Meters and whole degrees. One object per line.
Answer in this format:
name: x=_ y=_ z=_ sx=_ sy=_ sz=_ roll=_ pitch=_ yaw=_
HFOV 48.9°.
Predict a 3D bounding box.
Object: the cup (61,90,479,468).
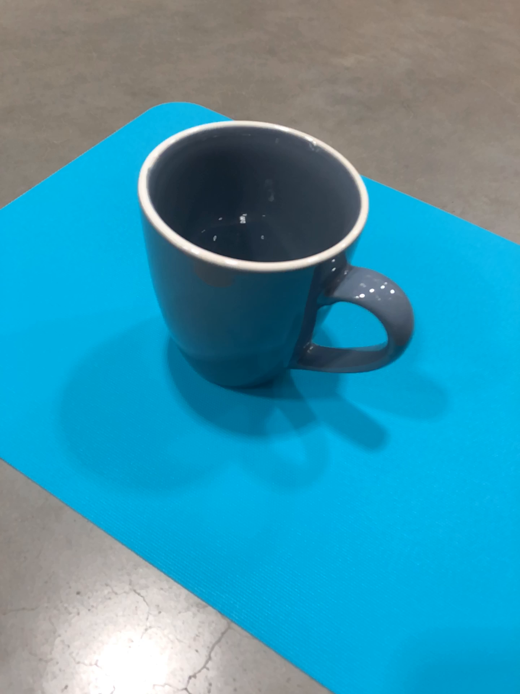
cup: x=0.004 y=-0.032 z=0.245 sx=0.130 sy=0.080 sz=0.090 roll=26 pitch=54 yaw=13
